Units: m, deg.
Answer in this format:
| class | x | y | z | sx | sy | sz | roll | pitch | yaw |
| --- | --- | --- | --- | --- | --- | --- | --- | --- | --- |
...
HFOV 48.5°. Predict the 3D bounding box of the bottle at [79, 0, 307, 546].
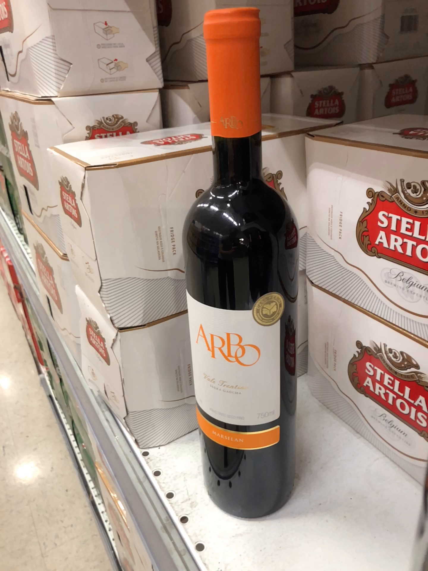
| class | x | y | z | sx | sy | sz | roll | pitch | yaw |
| --- | --- | --- | --- | --- | --- | --- | --- | --- | --- |
| bottle | 0.007 | 0.012 | 0.282 | 0.080 | 0.308 | 0.070 | 6 | 29 | 22 |
